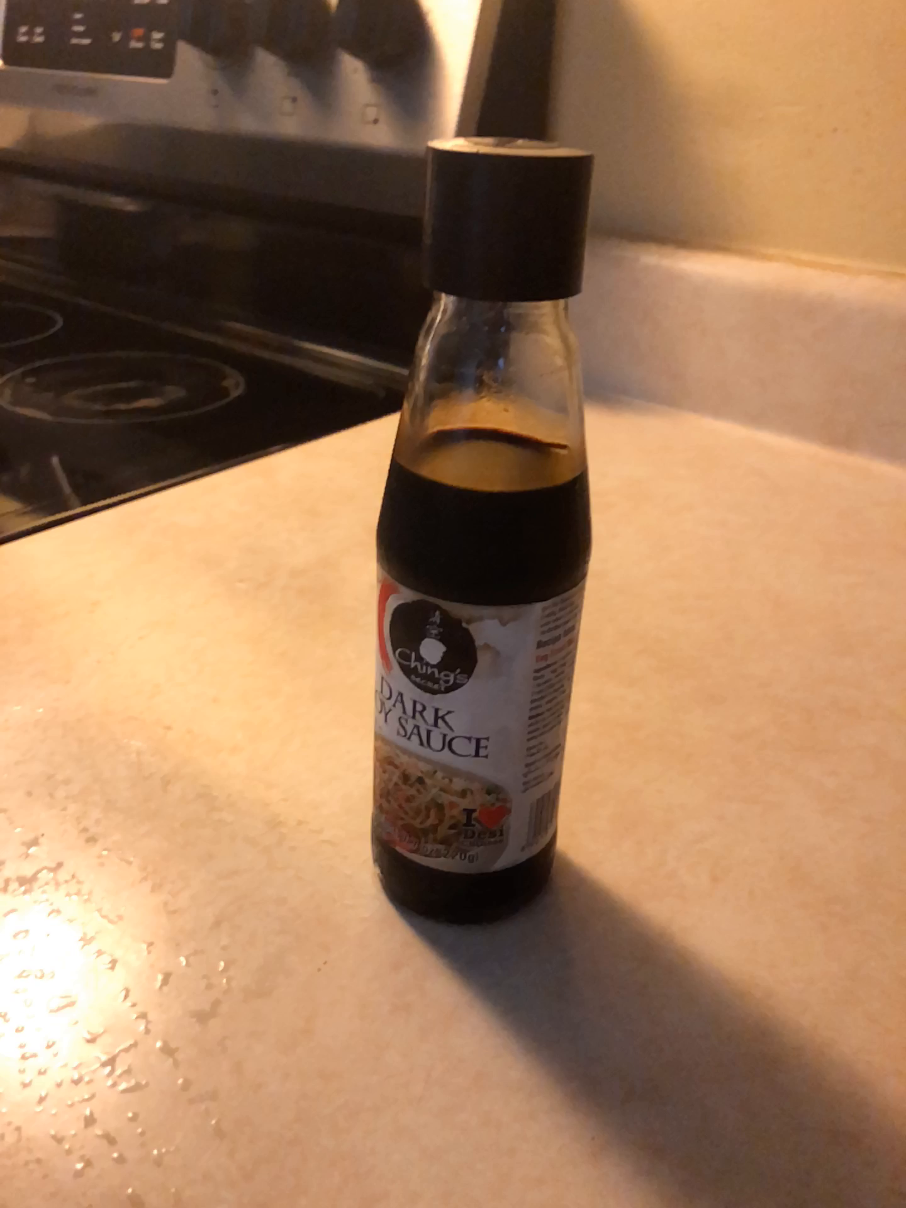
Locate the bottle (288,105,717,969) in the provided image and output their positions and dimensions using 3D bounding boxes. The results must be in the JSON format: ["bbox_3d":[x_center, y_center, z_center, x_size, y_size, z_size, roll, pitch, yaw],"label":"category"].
[{"bbox_3d":[0.007,-0.013,0.233,0.060,0.180,0.060,2,28,-1],"label":"bottle"}]
